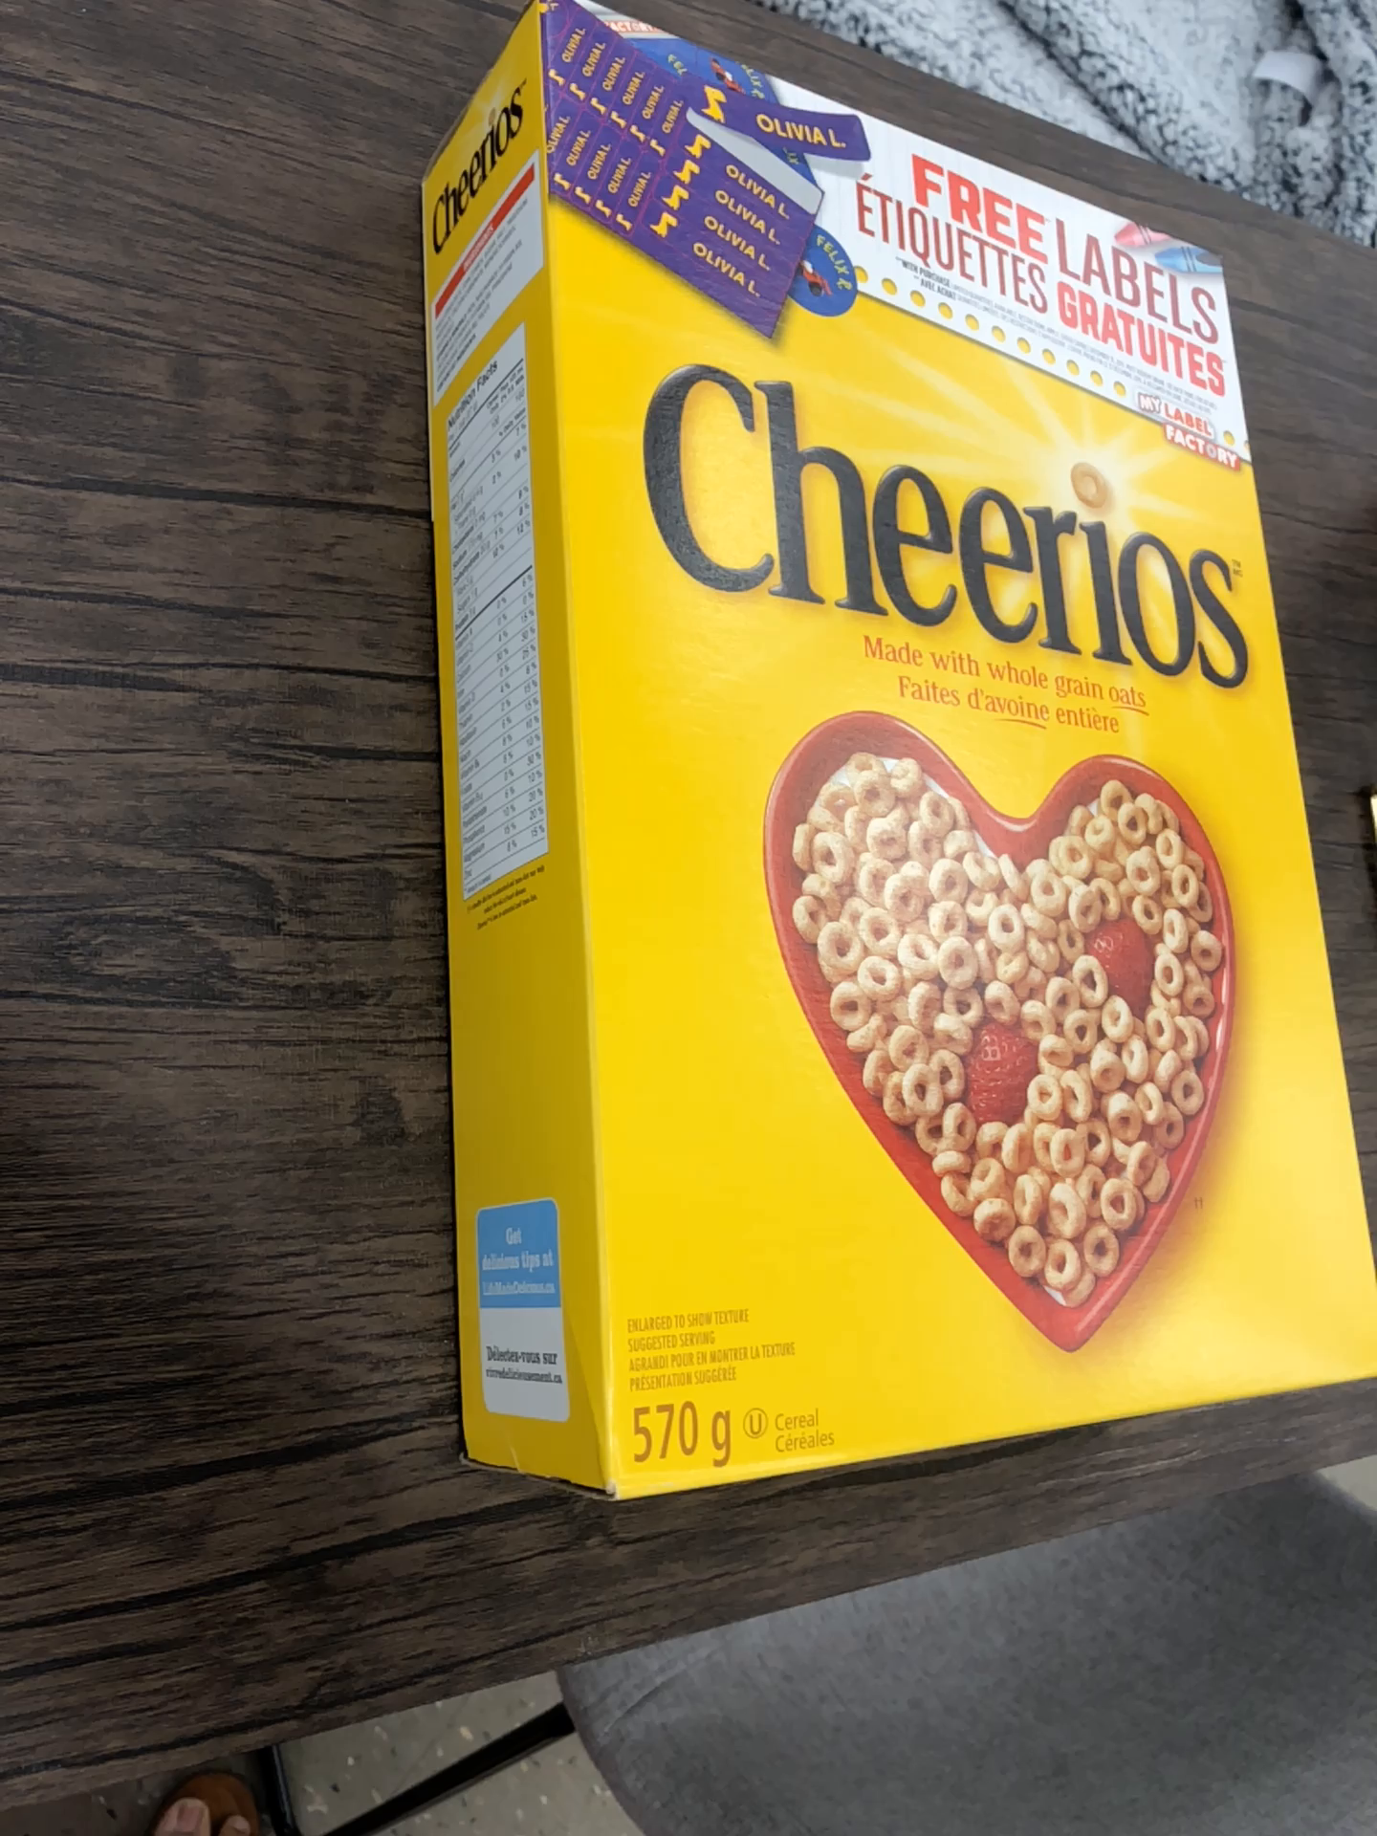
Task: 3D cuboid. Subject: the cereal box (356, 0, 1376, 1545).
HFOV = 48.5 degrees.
[{"bbox_3d":[0.048,-0.039,0.409,0.241,0.100,0.340,3,77,-31],"label":"cereal box"}]
